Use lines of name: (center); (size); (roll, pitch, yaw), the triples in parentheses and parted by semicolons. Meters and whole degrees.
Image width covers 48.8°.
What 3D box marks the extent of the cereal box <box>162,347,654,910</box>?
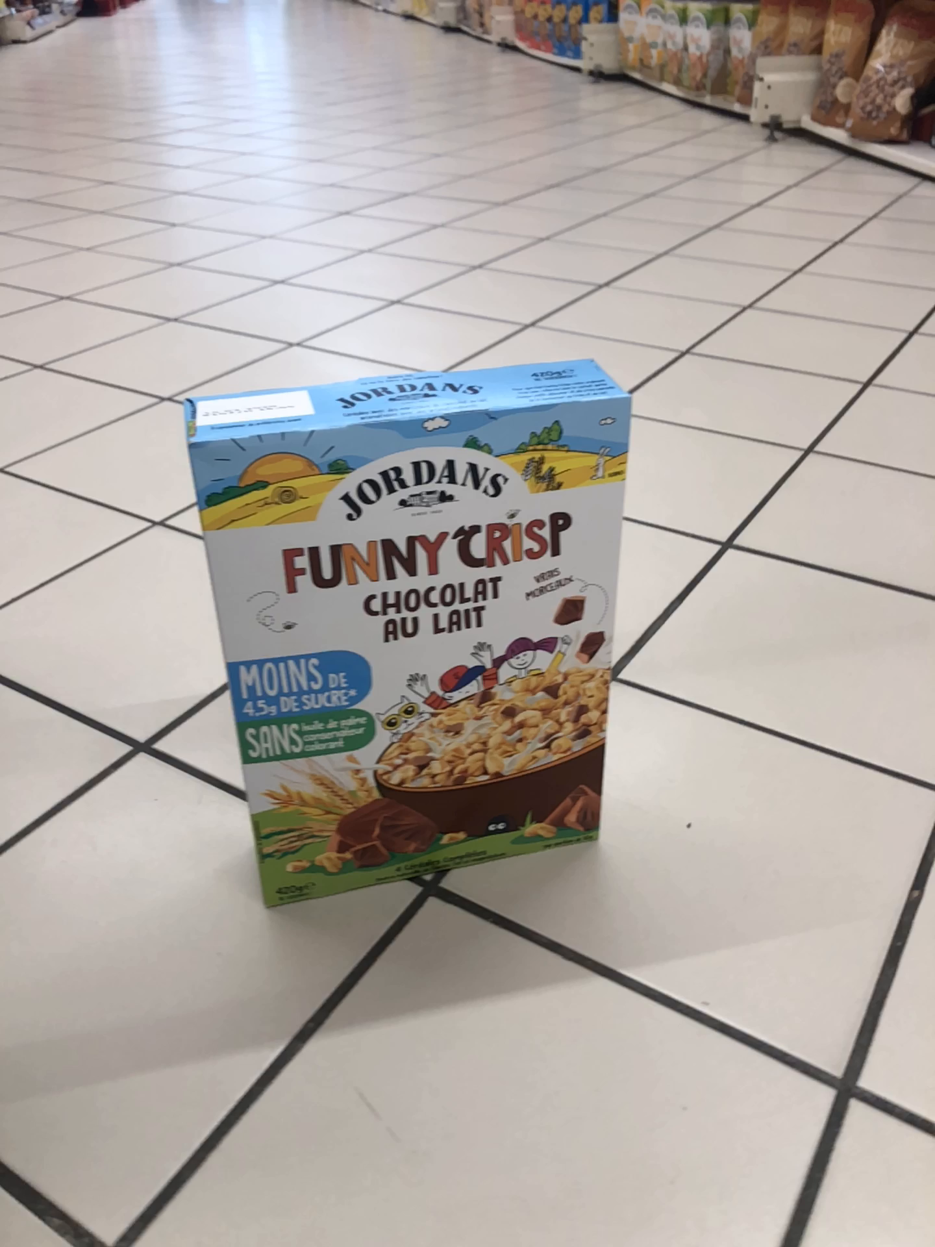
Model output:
cereal box: (-0.023, 0.007, 0.457); (0.180, 0.229, 0.060); (-8, 33, -11)
